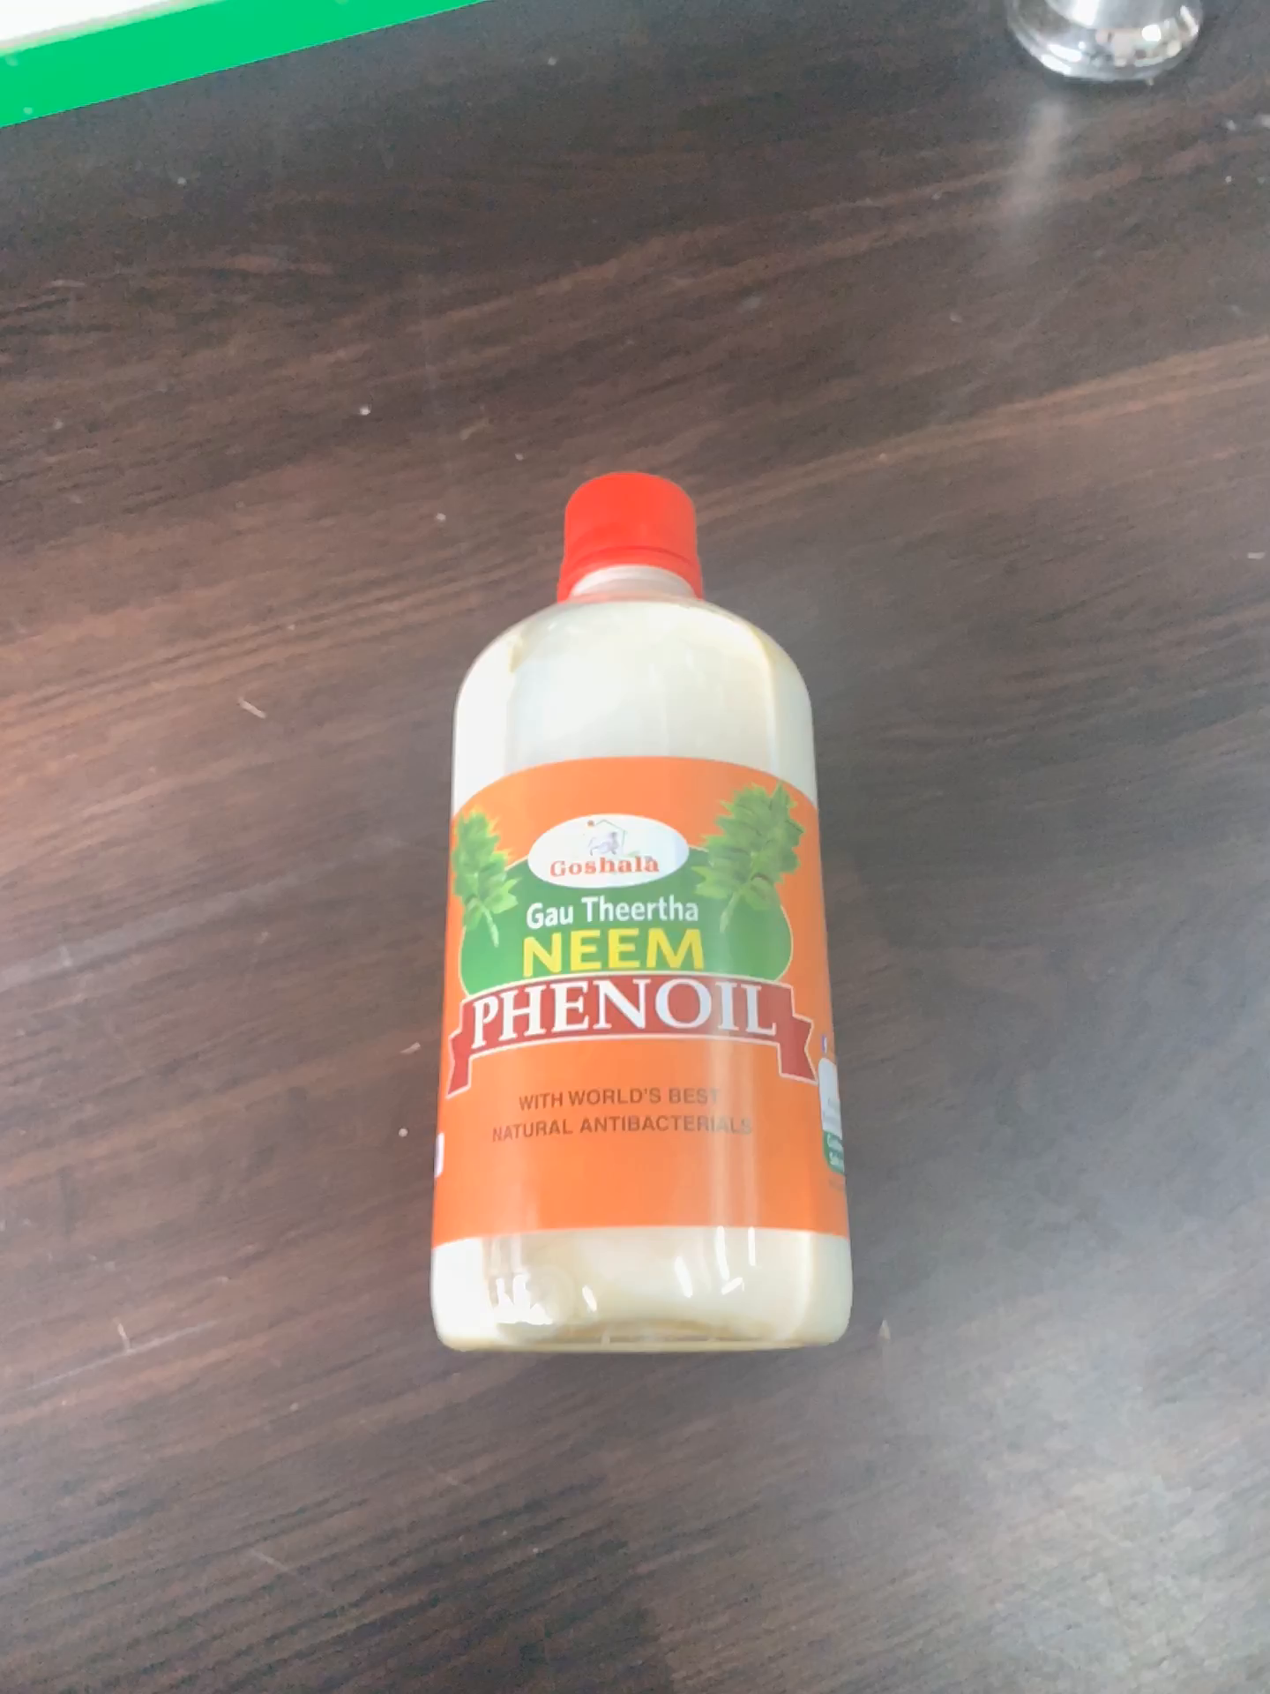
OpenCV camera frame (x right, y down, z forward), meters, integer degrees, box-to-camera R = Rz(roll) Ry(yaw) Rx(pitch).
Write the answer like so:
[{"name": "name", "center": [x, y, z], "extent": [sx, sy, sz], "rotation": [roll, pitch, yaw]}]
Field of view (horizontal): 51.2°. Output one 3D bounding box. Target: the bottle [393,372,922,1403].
[{"name": "bottle", "center": [0.002, 0.006, 0.266], "extent": [0.080, 0.070, 0.190], "rotation": [0, 70, -1]}]
